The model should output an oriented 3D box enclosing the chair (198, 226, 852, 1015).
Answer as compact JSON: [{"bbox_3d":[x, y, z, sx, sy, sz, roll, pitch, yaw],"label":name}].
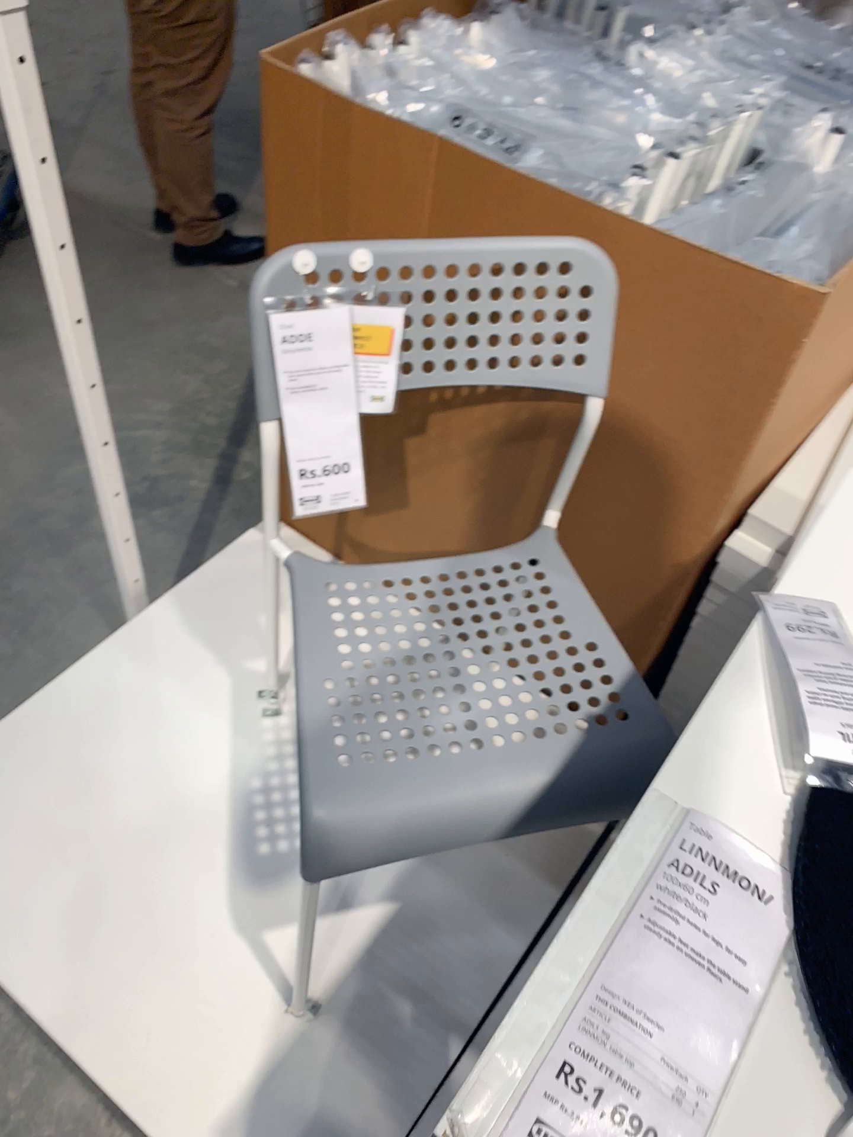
[{"bbox_3d":[0.031,0.079,0.964,0.460,0.688,0.502,-6,50,-13],"label":"chair"}]
